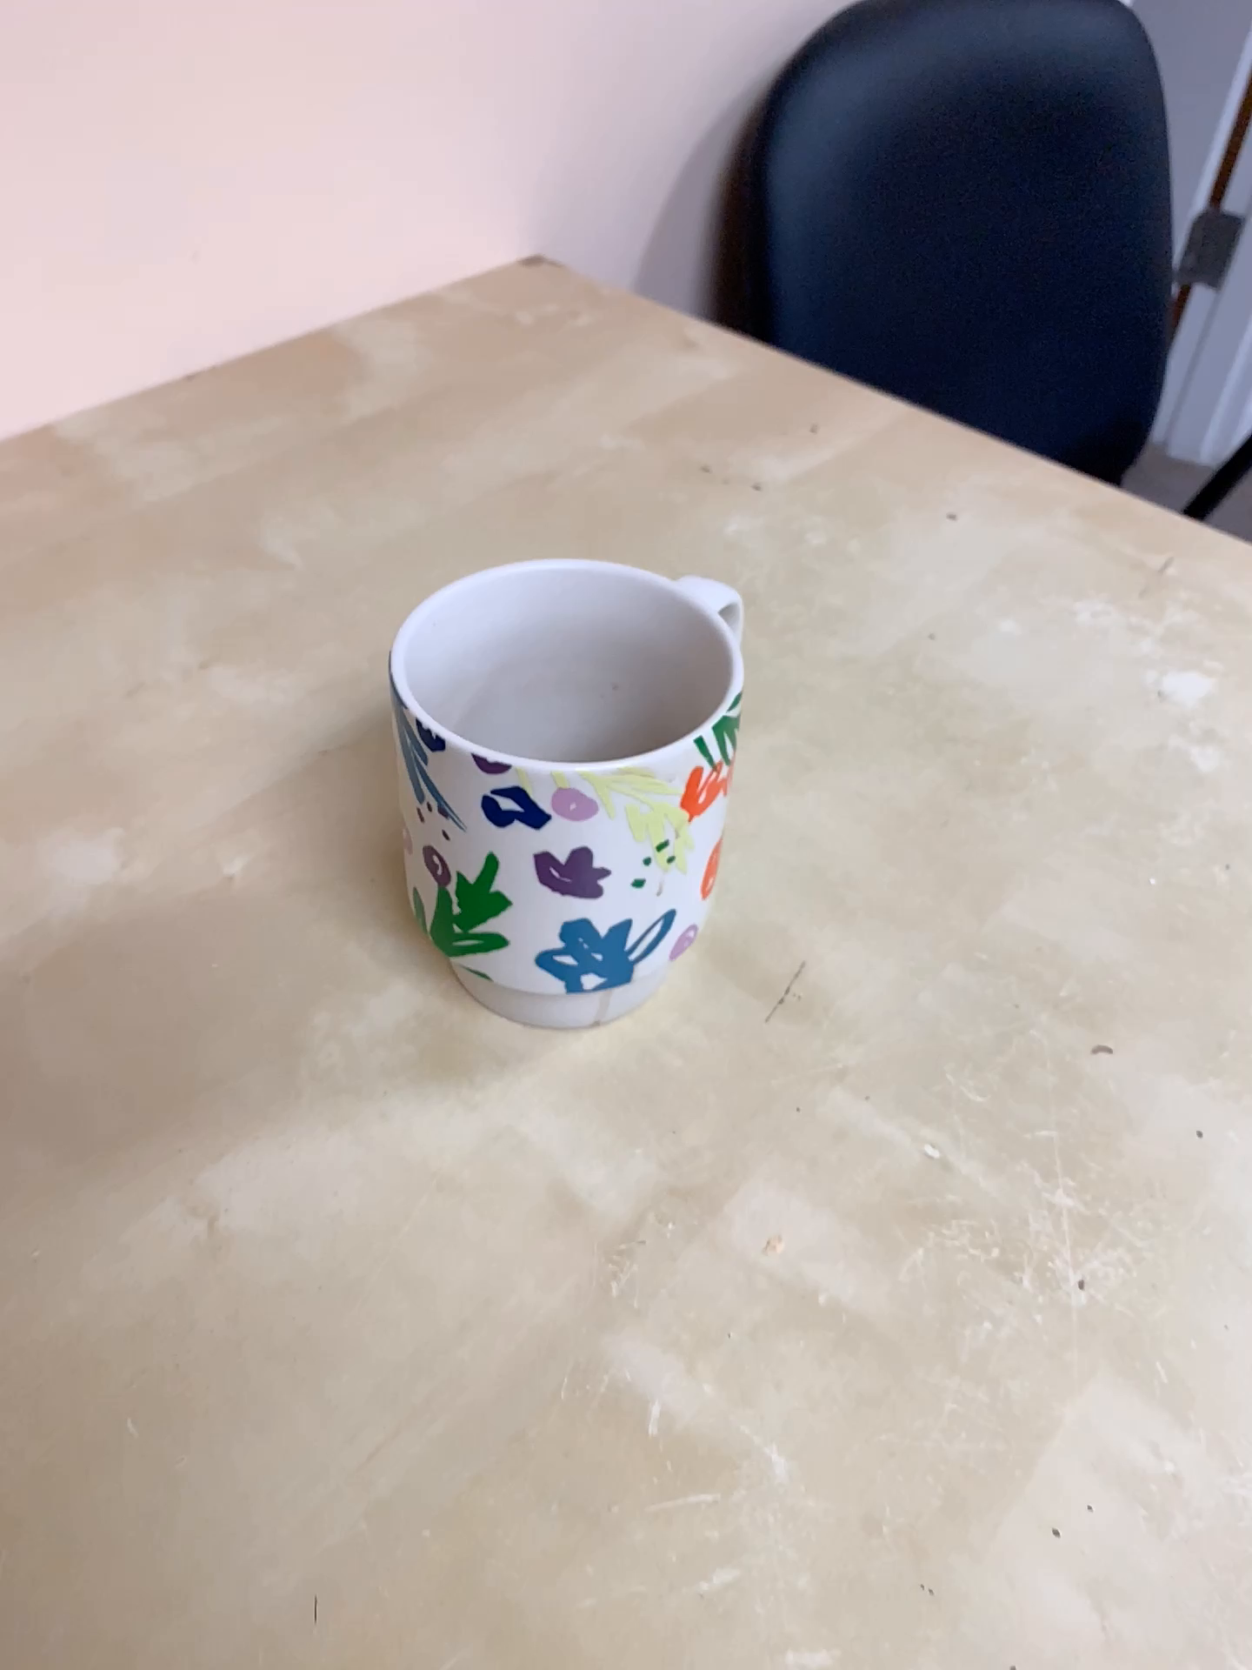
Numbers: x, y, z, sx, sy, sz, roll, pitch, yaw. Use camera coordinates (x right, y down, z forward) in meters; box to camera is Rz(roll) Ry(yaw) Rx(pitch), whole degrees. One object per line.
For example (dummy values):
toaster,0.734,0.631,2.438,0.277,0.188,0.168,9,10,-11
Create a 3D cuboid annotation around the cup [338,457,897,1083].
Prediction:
cup,0.001,-0.023,0.353,0.082,0.095,0.128,26,47,22
